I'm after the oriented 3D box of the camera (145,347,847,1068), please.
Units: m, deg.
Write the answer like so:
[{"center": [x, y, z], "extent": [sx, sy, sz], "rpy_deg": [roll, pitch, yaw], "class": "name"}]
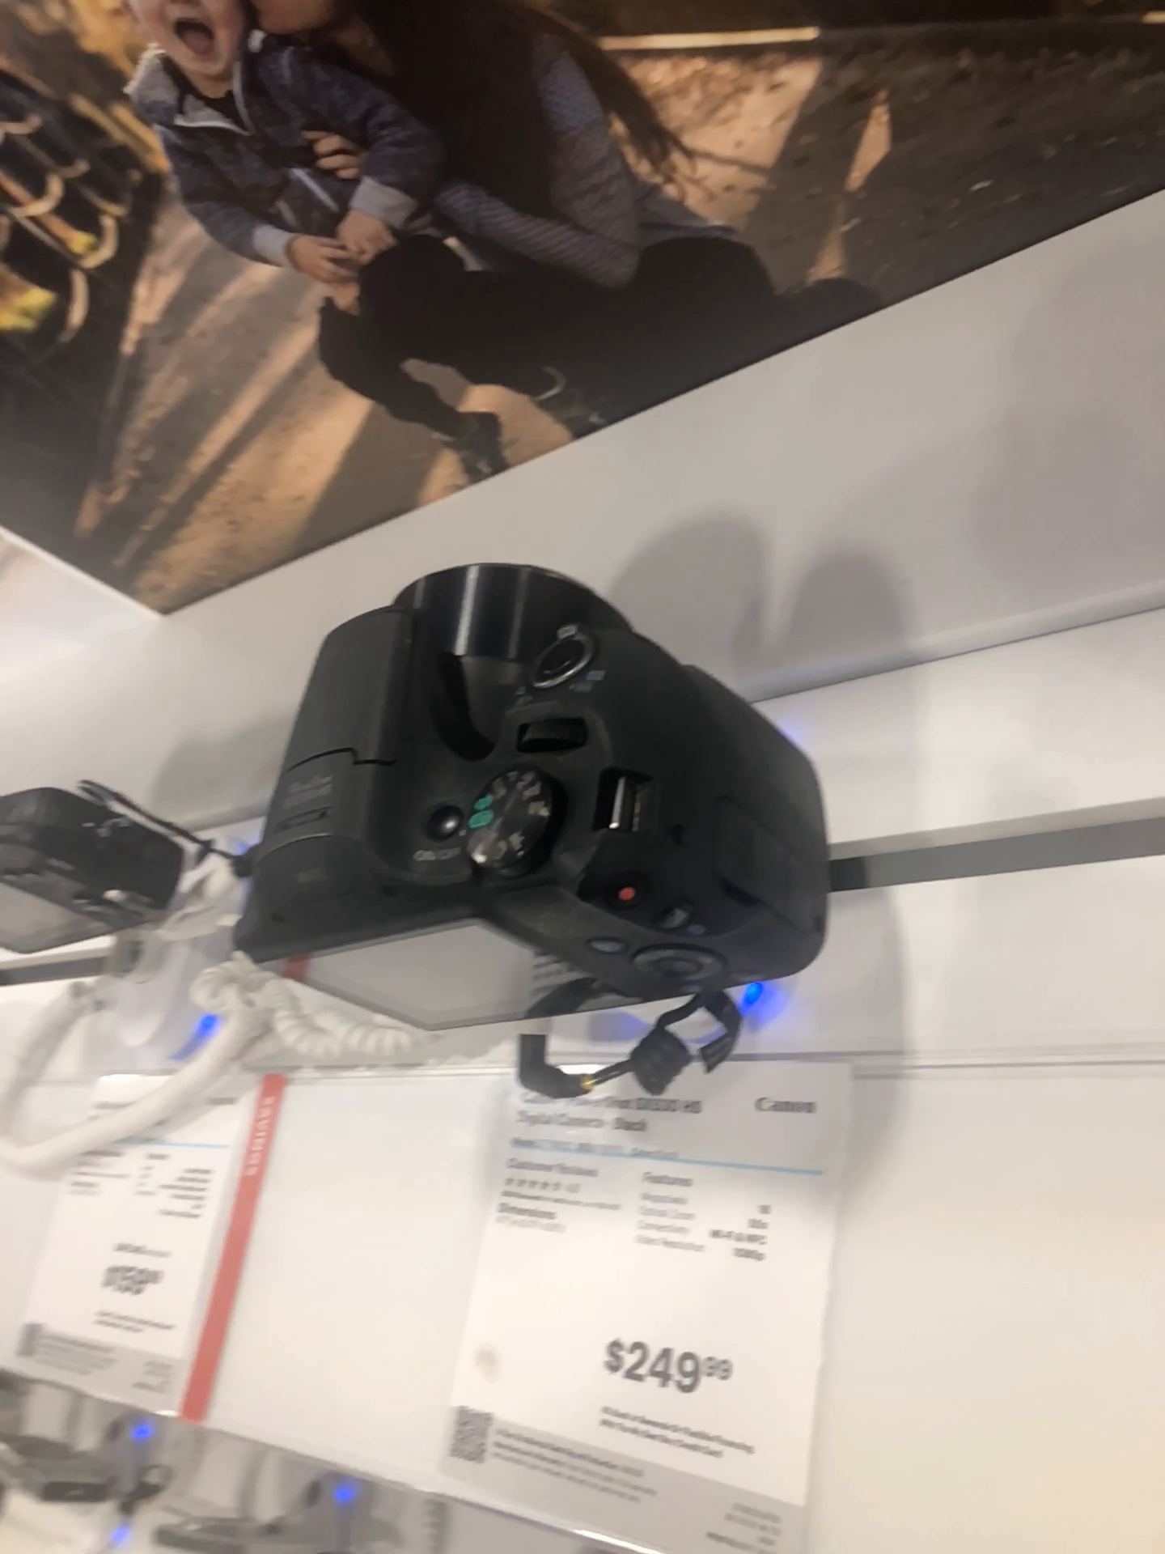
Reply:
[{"center": [-0.016, -0.005, 0.277], "extent": [0.120, 0.070, 0.110], "rpy_deg": [-15, 56, 39], "class": "camera"}]
